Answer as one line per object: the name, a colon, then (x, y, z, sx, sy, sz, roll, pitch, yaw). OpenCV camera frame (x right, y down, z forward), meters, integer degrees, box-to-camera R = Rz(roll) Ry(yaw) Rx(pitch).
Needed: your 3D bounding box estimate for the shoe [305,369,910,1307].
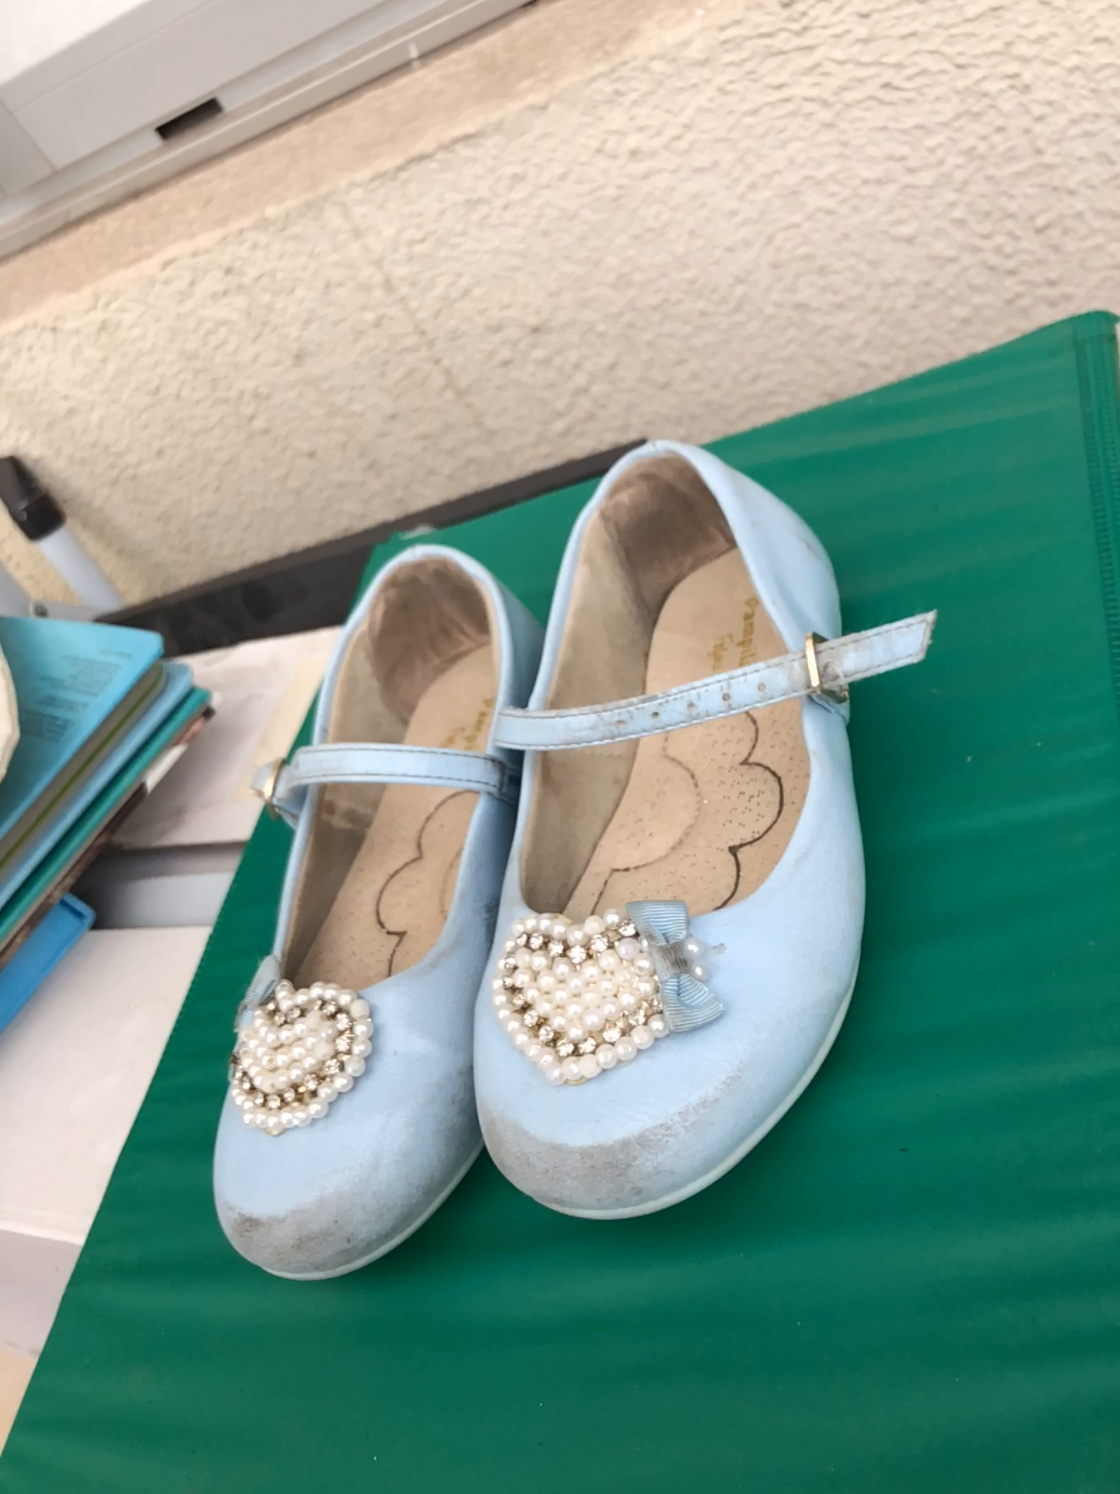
shoe: (0.021, 0.009, 0.243, 0.080, 0.050, 0.171, -10, 48, 26)

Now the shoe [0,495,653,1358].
shoe: (-0.040, 0.030, 0.271, 0.087, 0.050, 0.171, -10, 48, 26)
